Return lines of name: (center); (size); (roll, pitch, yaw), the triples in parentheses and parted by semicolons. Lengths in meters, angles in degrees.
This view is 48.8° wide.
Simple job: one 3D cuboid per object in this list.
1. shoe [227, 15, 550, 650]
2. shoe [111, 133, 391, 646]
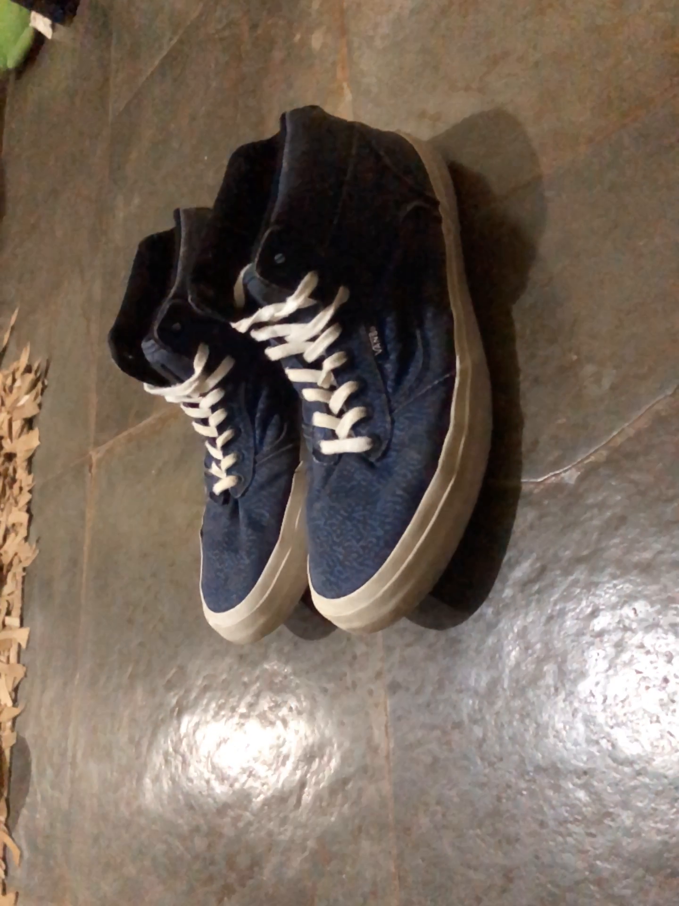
shoe: (0.020, -0.046, 0.380); (0.120, 0.090, 0.280); (-16, 69, 47)
shoe: (-0.056, -0.027, 0.469); (0.120, 0.109, 0.280); (-19, 66, 46)
